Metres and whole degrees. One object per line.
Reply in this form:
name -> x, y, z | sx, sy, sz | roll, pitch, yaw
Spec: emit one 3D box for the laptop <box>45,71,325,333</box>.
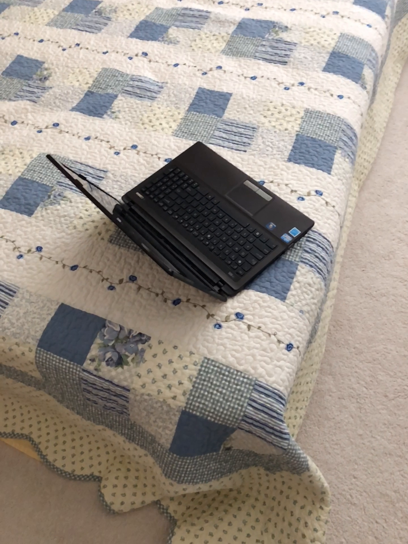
laptop -> -0.033, -0.153, 0.869 | 0.350, 0.193, 0.358 | -39, 61, -18
